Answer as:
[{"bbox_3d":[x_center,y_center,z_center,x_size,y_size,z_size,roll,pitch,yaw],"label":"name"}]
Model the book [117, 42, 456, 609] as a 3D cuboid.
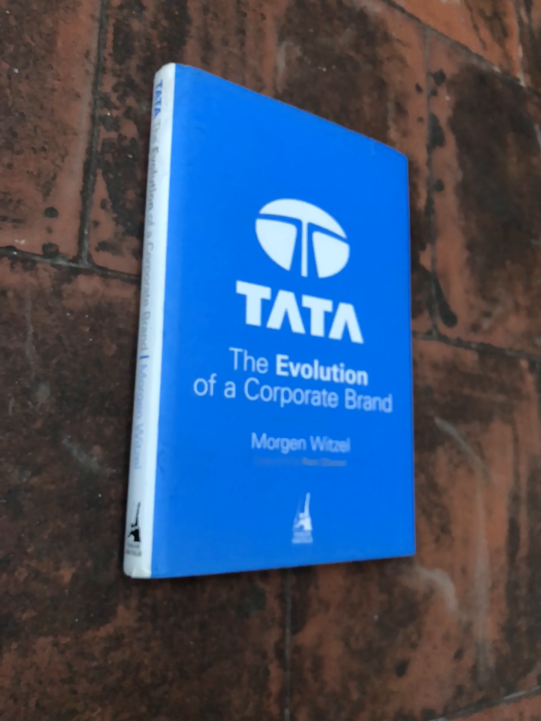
[{"bbox_3d":[0.018,-0.012,0.312,0.171,0.040,0.240,8,77,-33],"label":"book"}]
